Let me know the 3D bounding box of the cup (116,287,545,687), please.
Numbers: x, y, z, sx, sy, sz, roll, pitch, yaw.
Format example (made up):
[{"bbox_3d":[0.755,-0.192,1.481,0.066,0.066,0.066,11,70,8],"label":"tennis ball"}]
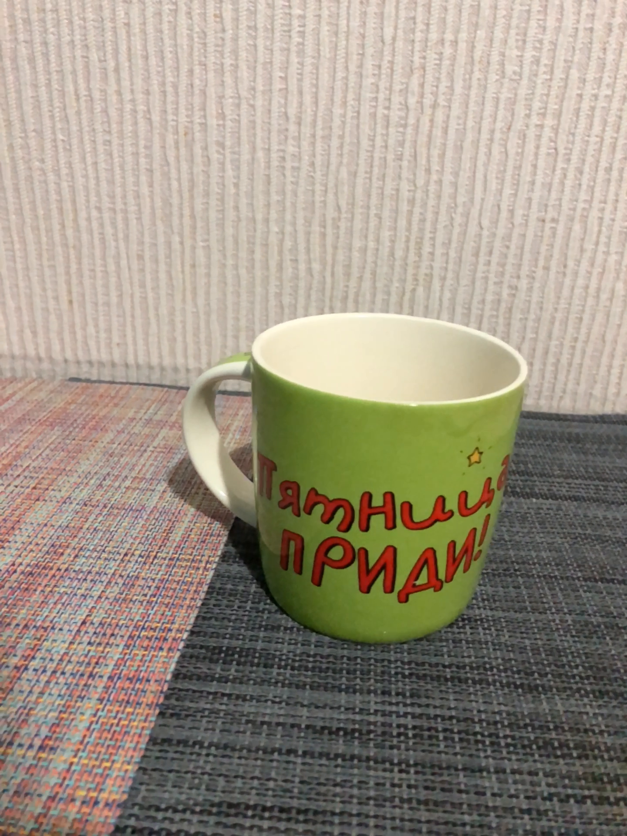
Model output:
[{"bbox_3d":[0.010,0.012,0.241,0.115,0.084,0.090,11,25,19],"label":"cup"}]
